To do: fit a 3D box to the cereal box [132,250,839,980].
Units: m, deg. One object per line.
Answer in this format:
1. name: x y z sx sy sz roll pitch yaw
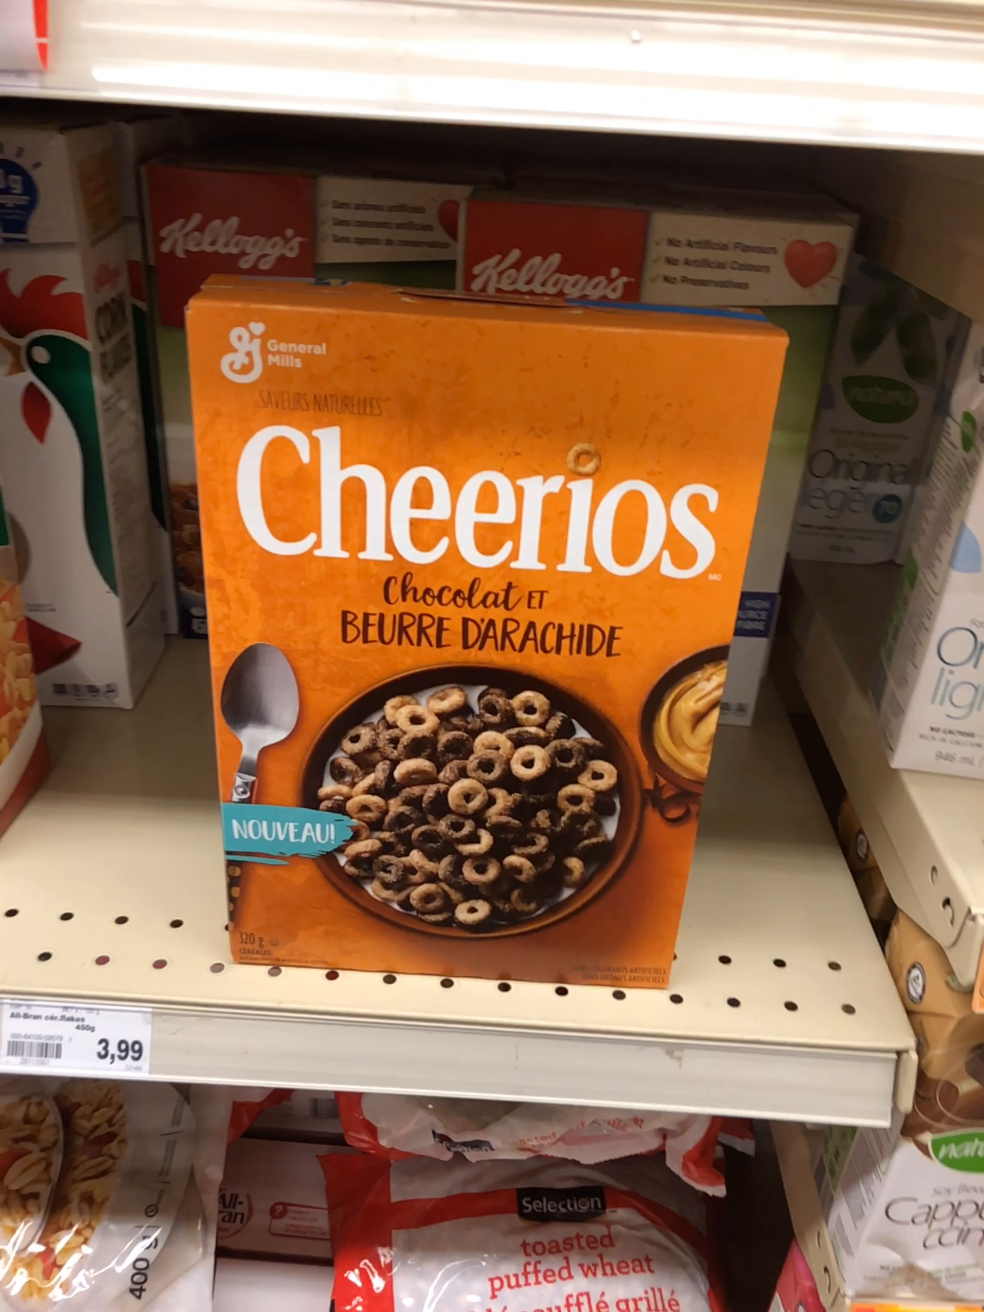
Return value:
1. cereal box: -0.009 -0.001 0.408 0.210 0.268 0.050 4 29 0
